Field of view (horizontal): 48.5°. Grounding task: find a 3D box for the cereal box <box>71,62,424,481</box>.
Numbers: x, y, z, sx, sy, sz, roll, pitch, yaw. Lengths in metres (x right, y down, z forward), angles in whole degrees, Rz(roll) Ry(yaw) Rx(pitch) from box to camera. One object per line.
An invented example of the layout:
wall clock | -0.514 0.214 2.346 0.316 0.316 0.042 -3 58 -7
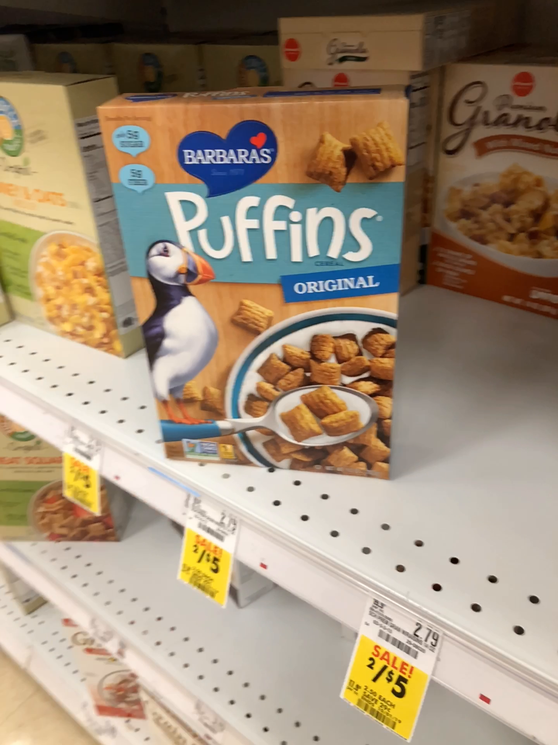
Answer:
cereal box | -0.008 -0.055 0.414 0.190 0.259 0.060 3 32 12
